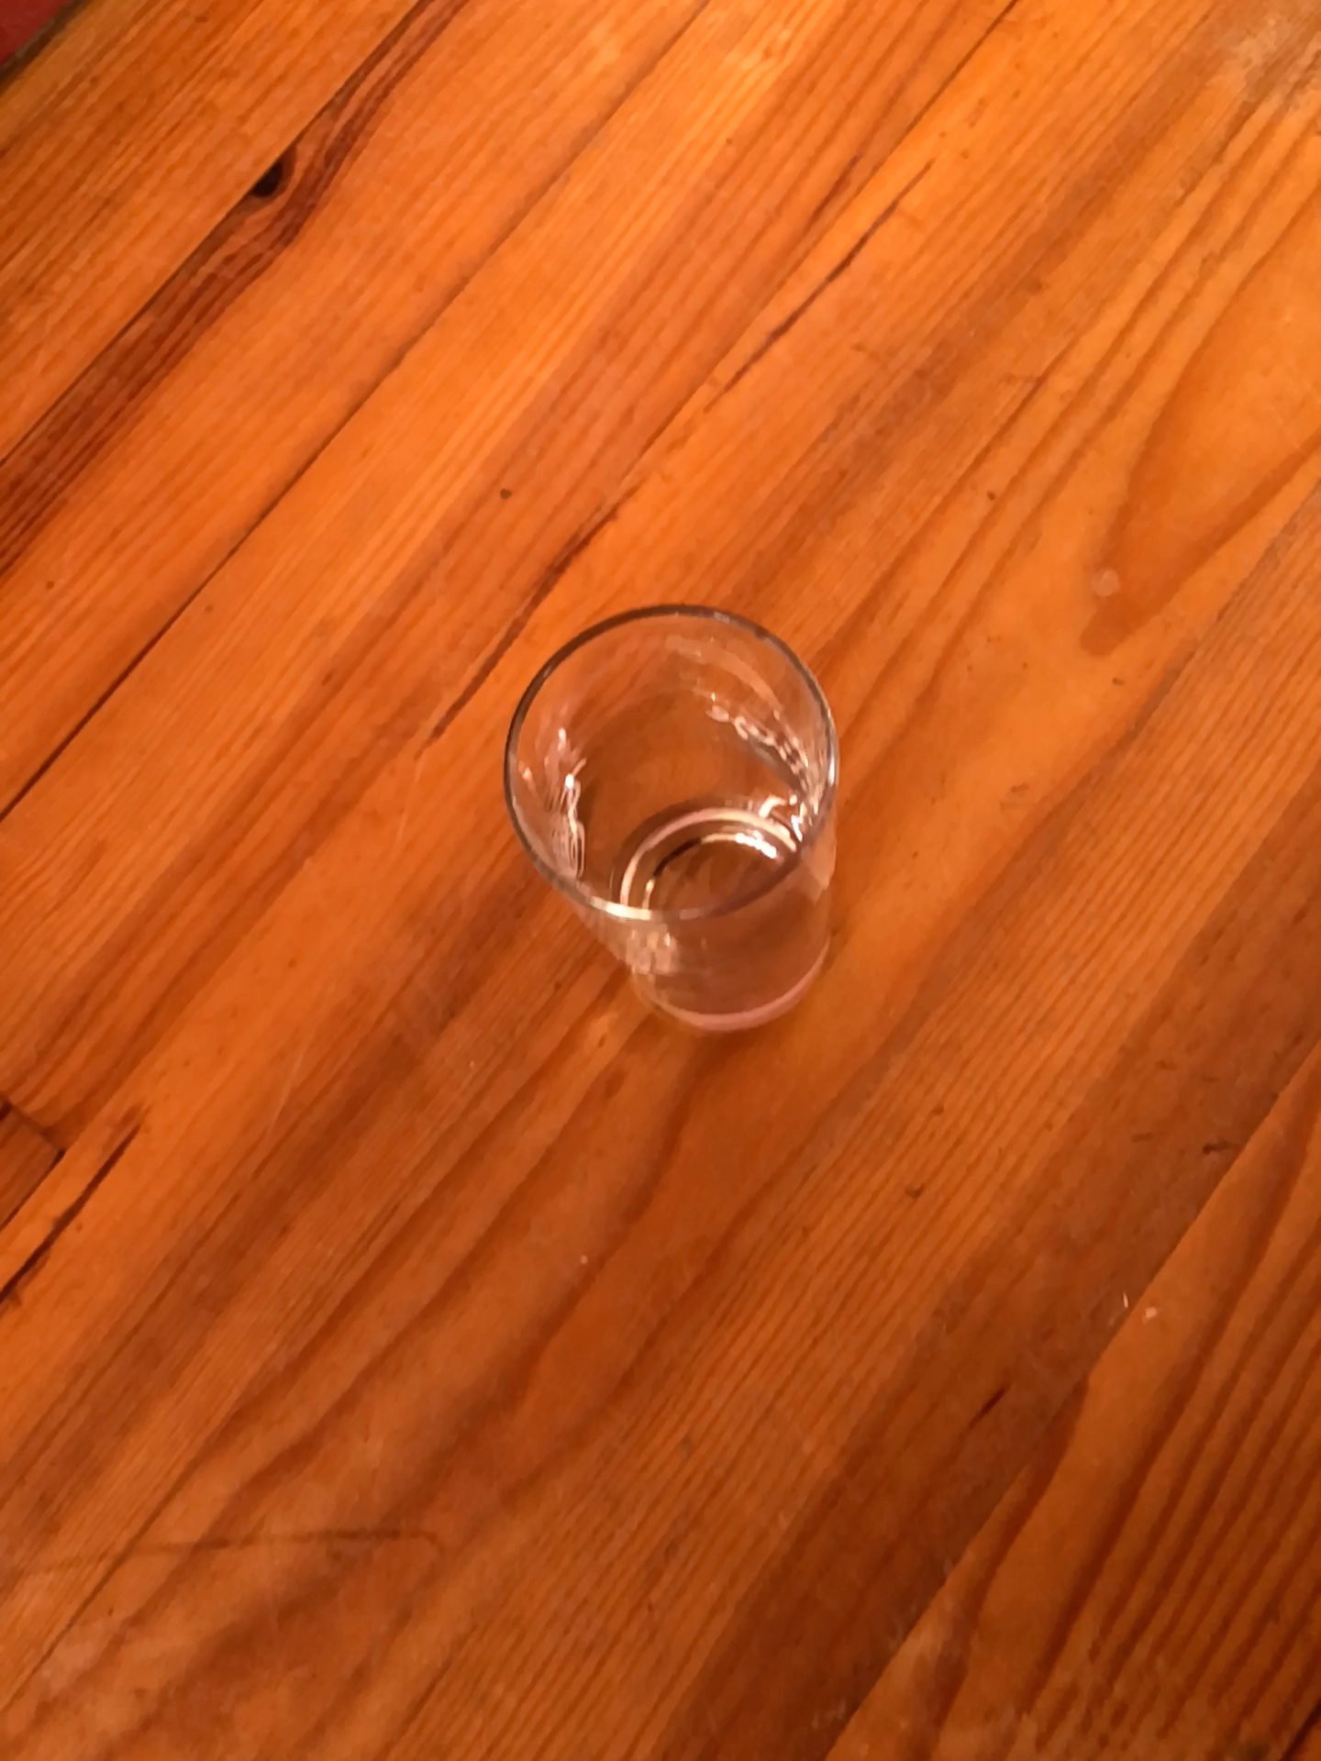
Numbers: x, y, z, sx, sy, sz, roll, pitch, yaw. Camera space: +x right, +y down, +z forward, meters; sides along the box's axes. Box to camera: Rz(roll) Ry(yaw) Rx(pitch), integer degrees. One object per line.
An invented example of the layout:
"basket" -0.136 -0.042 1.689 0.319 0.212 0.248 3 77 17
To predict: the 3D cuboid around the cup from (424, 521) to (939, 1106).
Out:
"cup" 0.010 -0.003 0.280 0.056 0.124 0.056 -2 75 7
